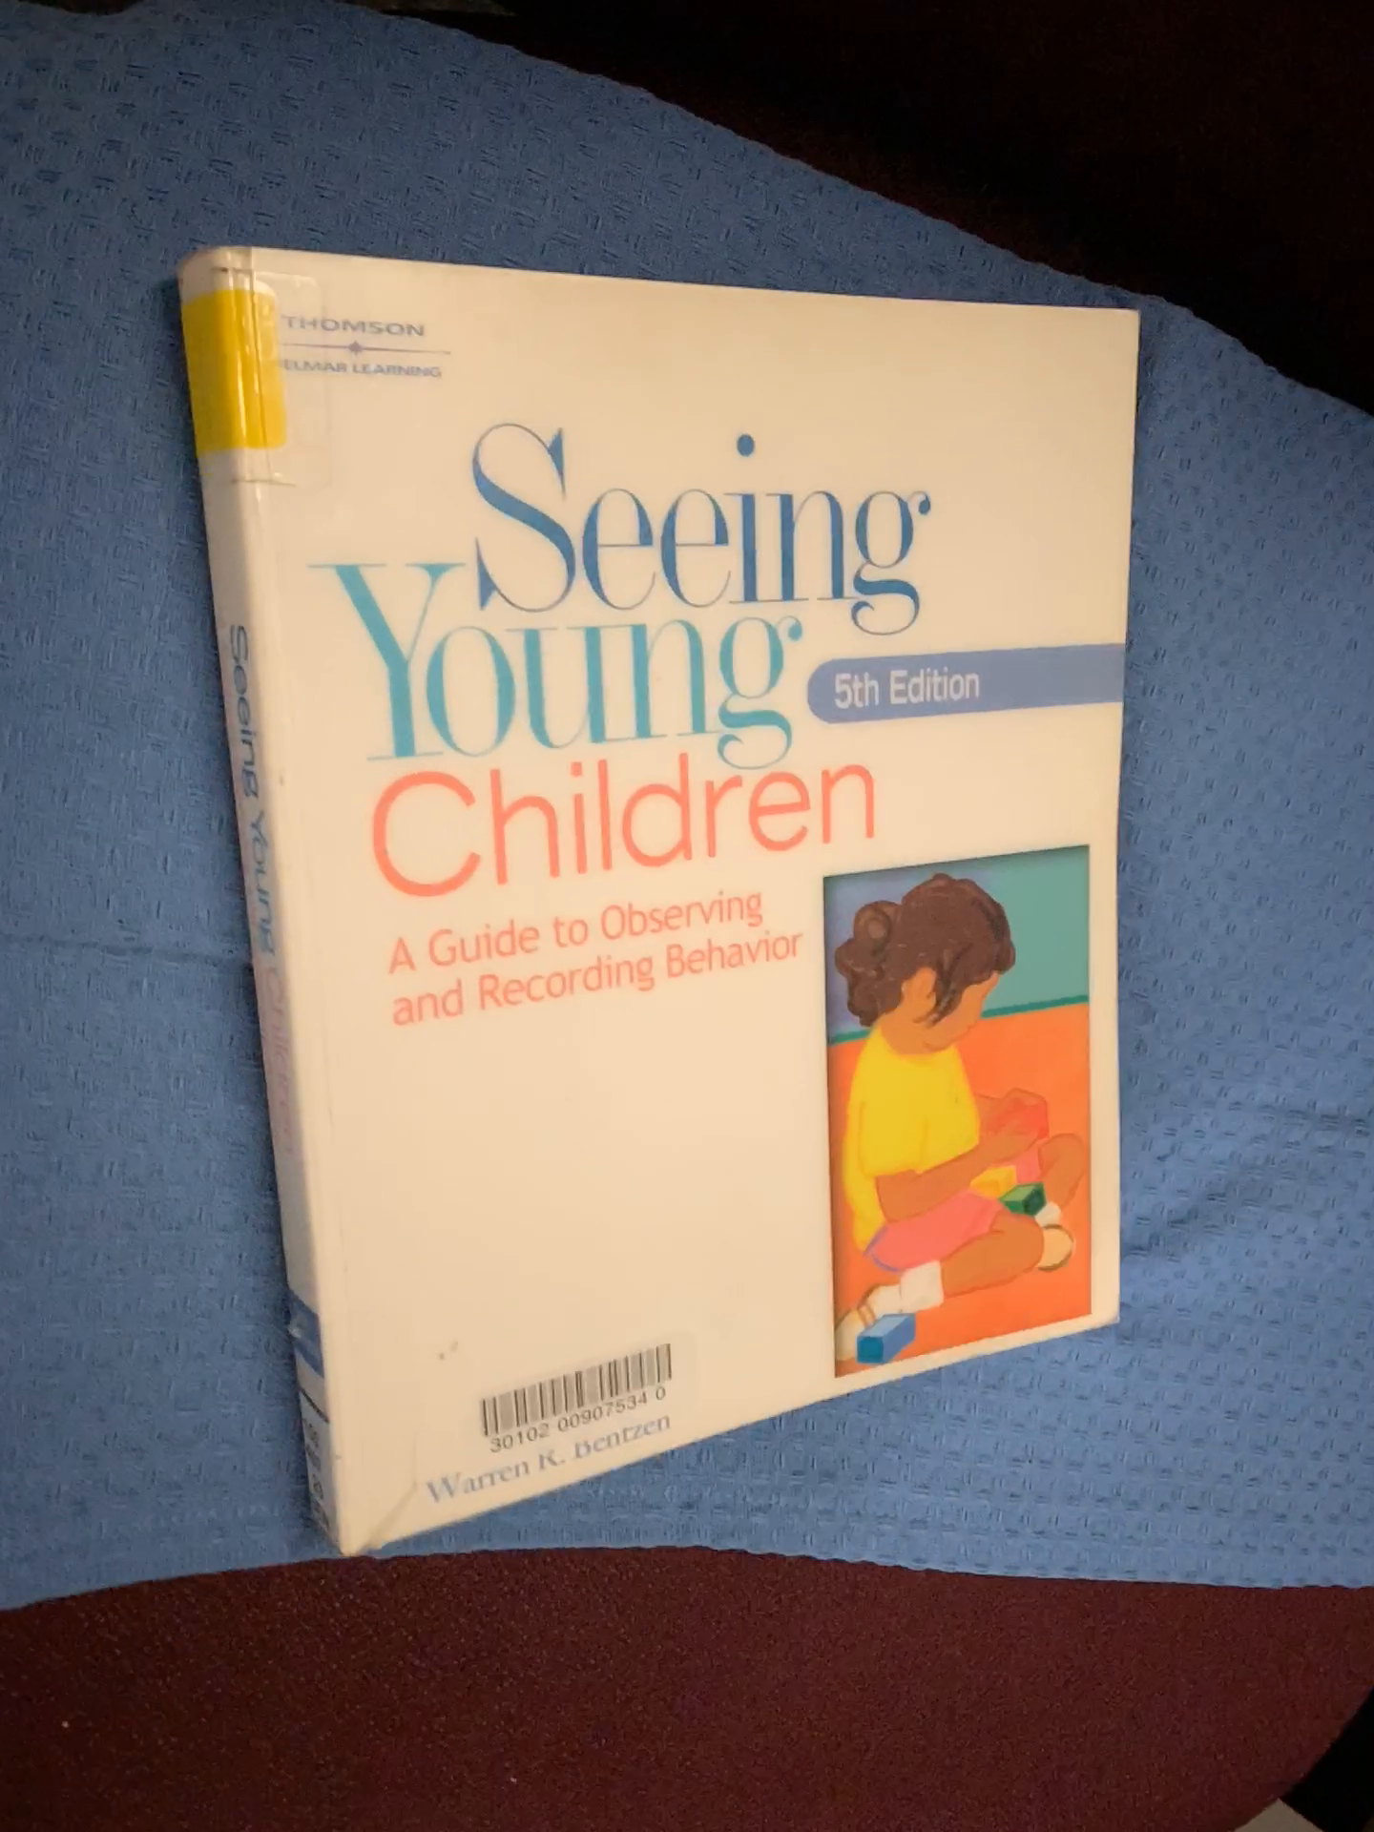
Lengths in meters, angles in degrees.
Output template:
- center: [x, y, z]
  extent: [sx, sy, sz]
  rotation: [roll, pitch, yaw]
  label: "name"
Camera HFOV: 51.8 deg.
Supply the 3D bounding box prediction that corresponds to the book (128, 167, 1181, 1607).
- center: [0.009, -0.006, 0.294]
  extent: [0.201, 0.030, 0.250]
  rotation: [-9, 107, -25]
  label: "book"
